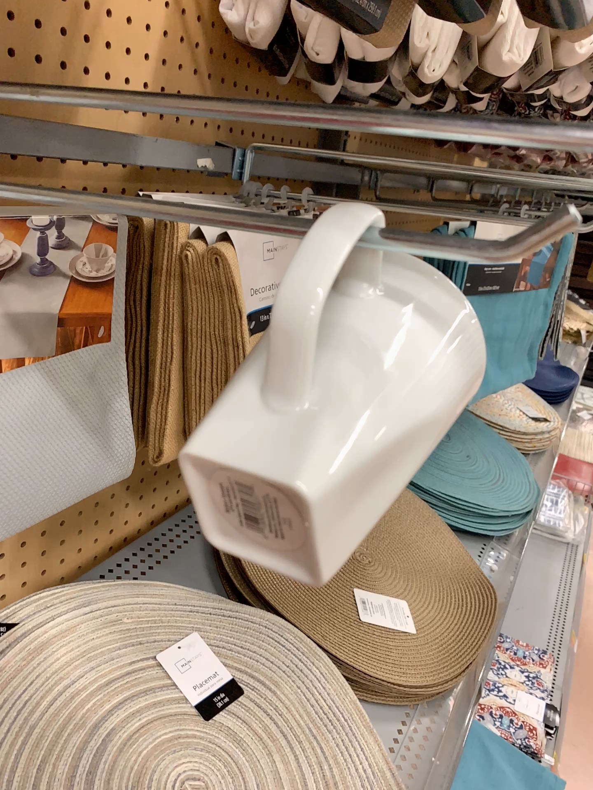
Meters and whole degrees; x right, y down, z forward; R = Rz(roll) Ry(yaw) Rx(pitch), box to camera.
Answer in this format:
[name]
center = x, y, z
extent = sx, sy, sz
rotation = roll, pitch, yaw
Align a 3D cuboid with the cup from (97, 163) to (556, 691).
[cup]
center = 0.020, -0.004, 0.227
extent = 0.090, 0.119, 0.141
rotation = 19, 37, 24
